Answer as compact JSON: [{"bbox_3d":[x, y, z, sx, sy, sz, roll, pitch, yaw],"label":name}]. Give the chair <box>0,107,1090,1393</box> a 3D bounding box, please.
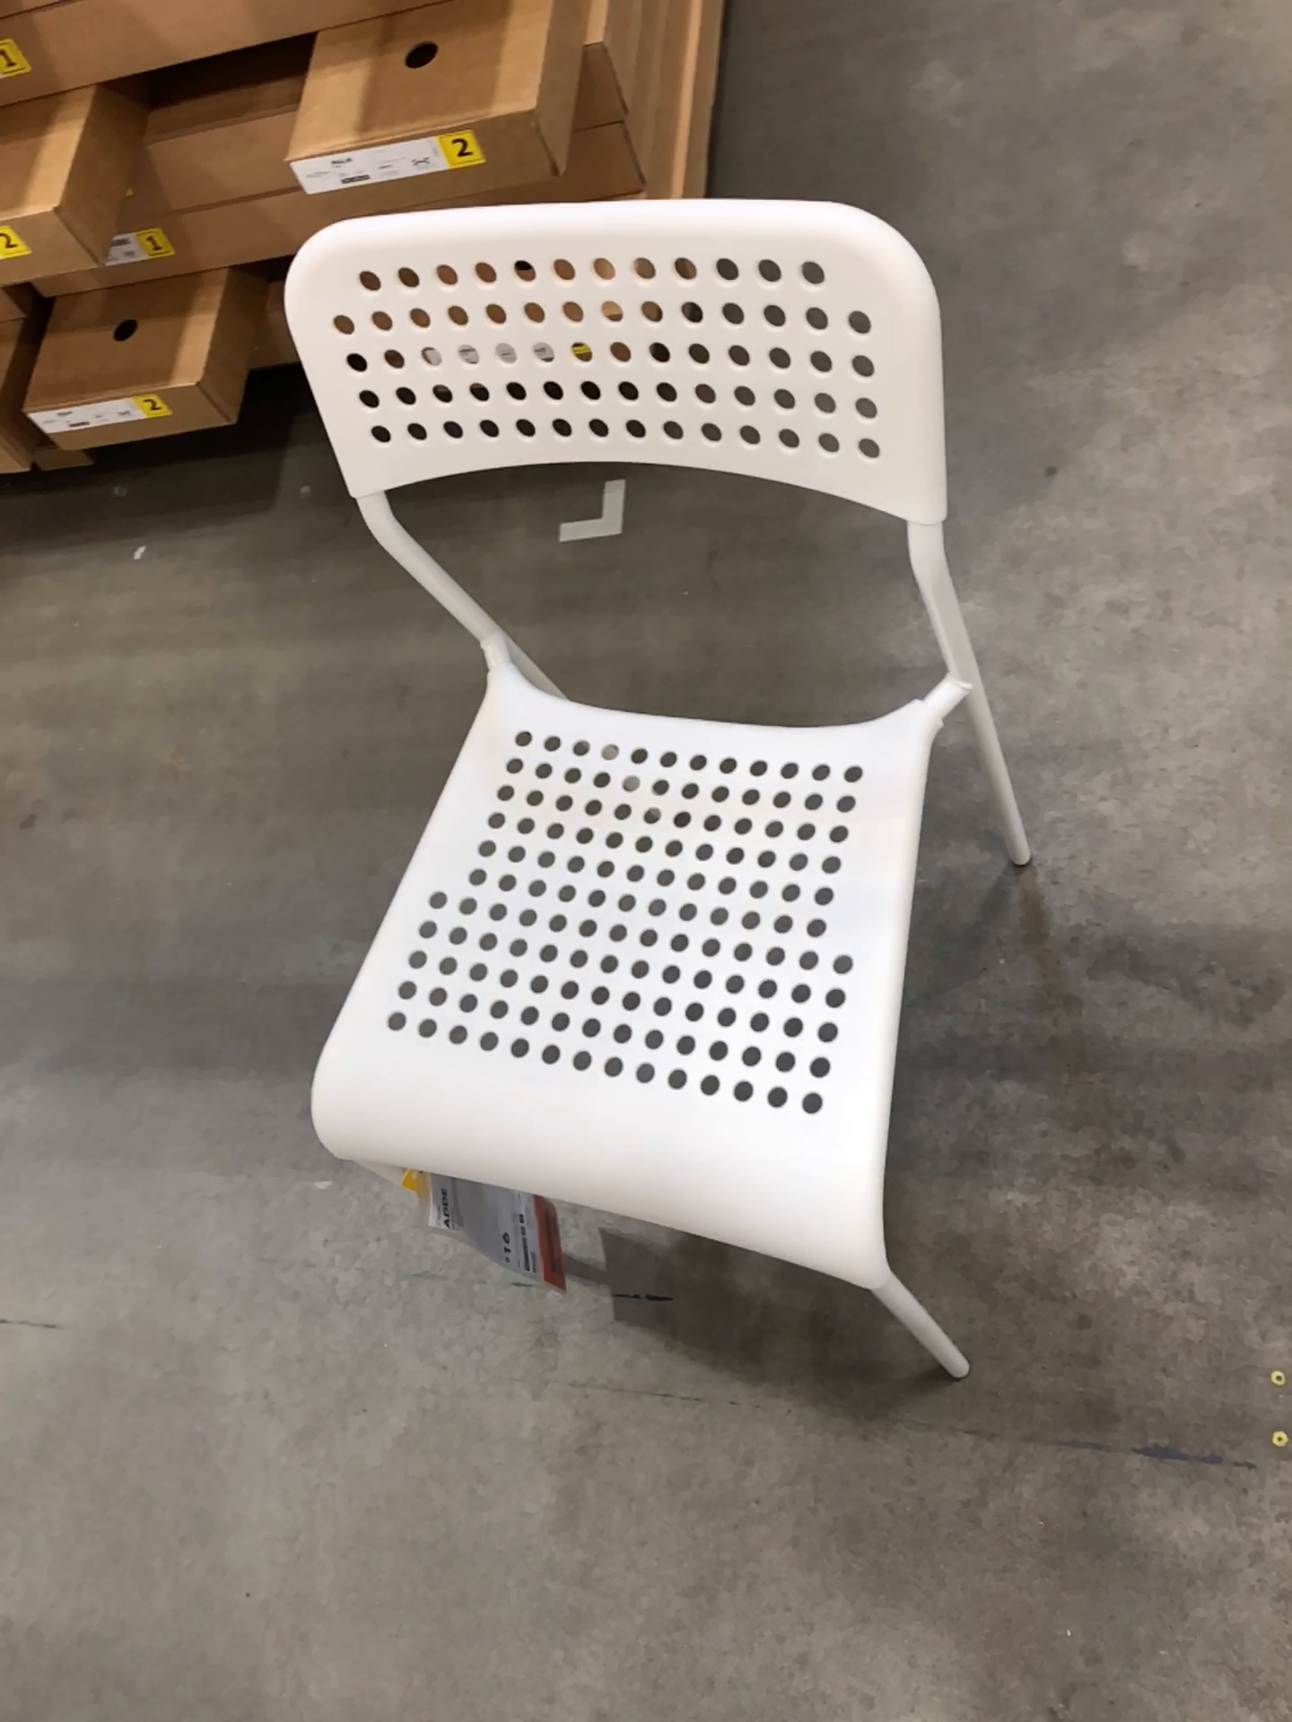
[{"bbox_3d":[0.005,0.001,0.938,0.461,0.699,0.510,9,70,22],"label":"chair"}]
